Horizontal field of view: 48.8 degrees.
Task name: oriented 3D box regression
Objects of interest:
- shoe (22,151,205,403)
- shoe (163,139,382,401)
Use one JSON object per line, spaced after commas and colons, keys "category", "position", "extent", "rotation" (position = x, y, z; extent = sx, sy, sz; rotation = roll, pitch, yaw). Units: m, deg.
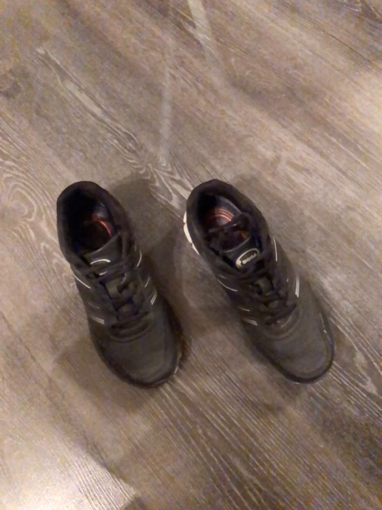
{"category": "shoe", "position": [-0.087, 0.023, 0.477], "extent": [0.100, 0.090, 0.250], "rotation": [-26, 71, -2]}
{"category": "shoe", "position": [0.088, 0.016, 0.479], "extent": [0.110, 0.100, 0.260], "rotation": [-31, 72, -4]}
